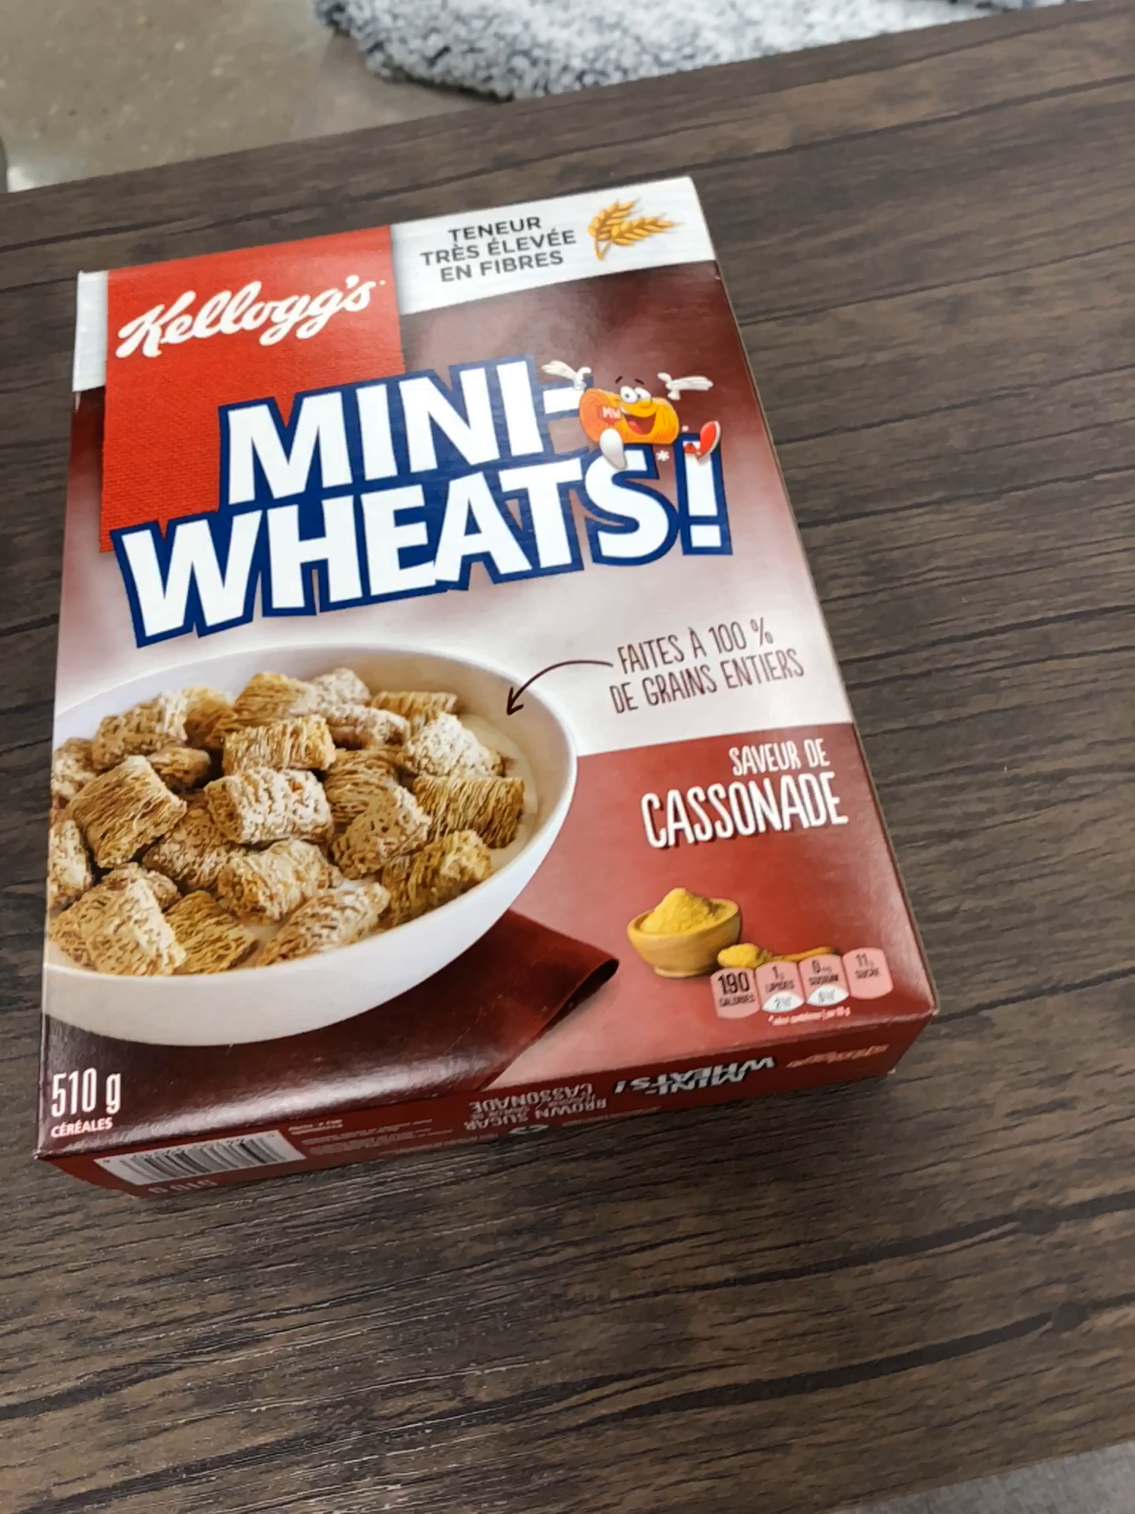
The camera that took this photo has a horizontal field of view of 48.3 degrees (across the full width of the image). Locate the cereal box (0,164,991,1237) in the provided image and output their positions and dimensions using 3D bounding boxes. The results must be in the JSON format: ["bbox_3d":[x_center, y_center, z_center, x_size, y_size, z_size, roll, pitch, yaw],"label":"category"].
[{"bbox_3d":[-0.038,-0.030,0.336,0.210,0.060,0.260,-9,62,-2],"label":"cereal box"}]
